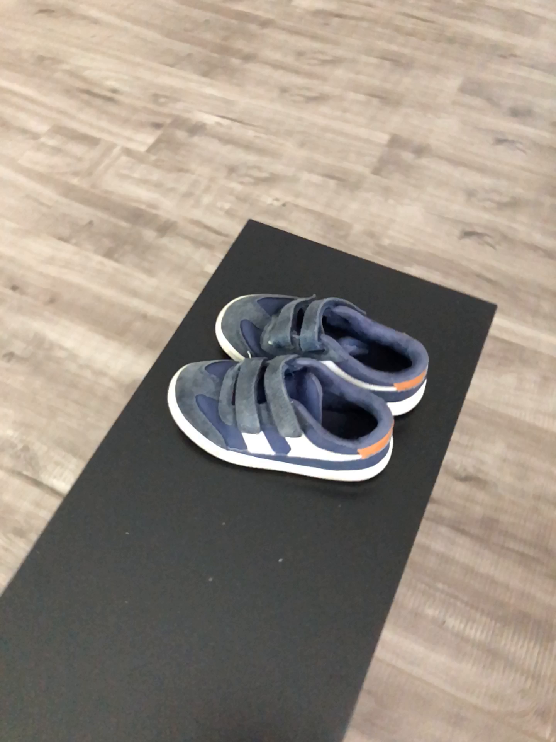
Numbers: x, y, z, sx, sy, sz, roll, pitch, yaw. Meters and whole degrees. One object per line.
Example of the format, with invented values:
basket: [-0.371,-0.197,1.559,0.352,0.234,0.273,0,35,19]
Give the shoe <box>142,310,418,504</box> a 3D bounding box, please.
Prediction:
shoe: [0.004,0.027,0.479,0.185,0.068,0.088,13,60,9]

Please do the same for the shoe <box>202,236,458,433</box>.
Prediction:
shoe: [0.041,-0.032,0.514,0.185,0.068,0.082,22,61,14]
